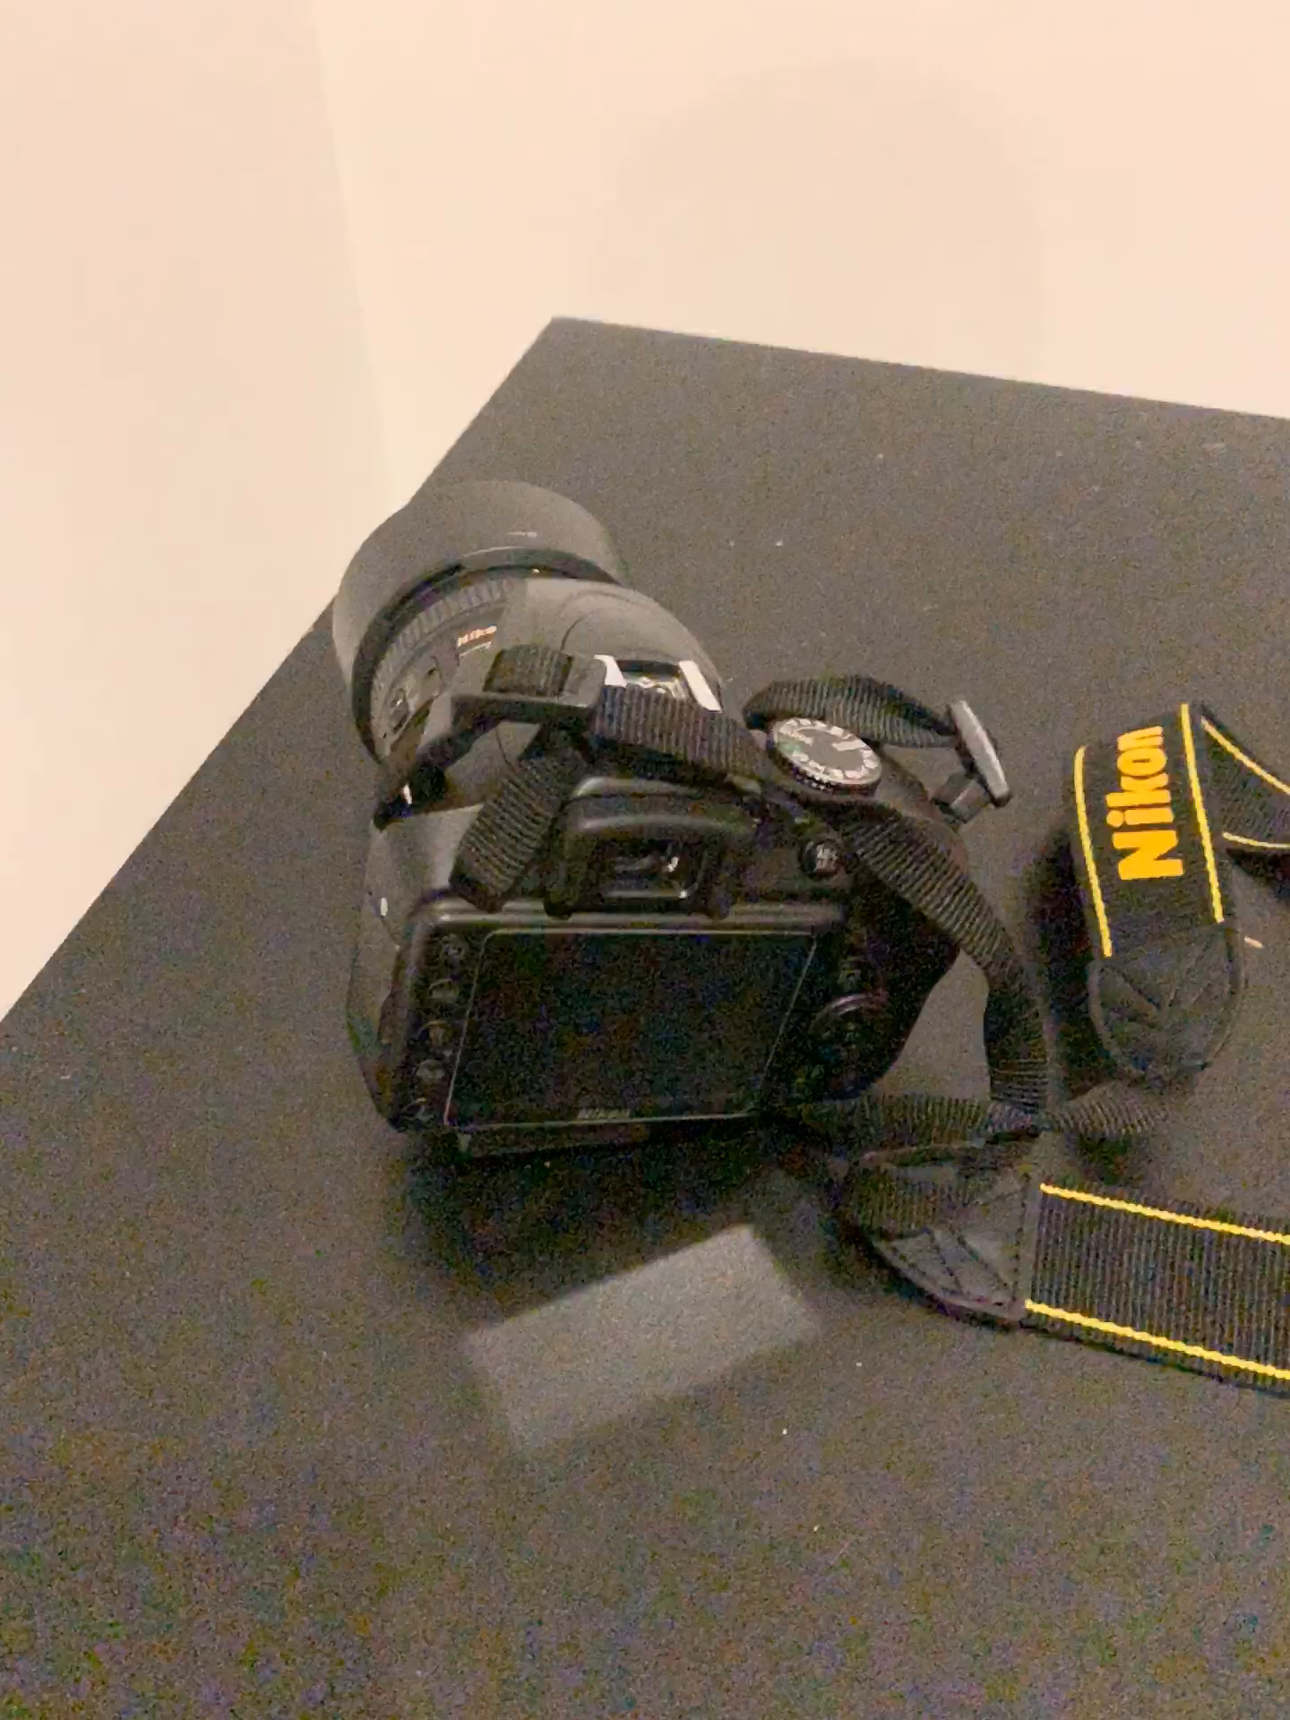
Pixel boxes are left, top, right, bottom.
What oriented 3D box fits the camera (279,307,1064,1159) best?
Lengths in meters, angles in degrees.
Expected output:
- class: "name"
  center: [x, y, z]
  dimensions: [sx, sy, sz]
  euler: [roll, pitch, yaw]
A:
- class: "camera"
  center: [-0.018, -0.045, 0.331]
  dimensions: [0.116, 0.089, 0.221]
  euler: [2, 38, -22]
